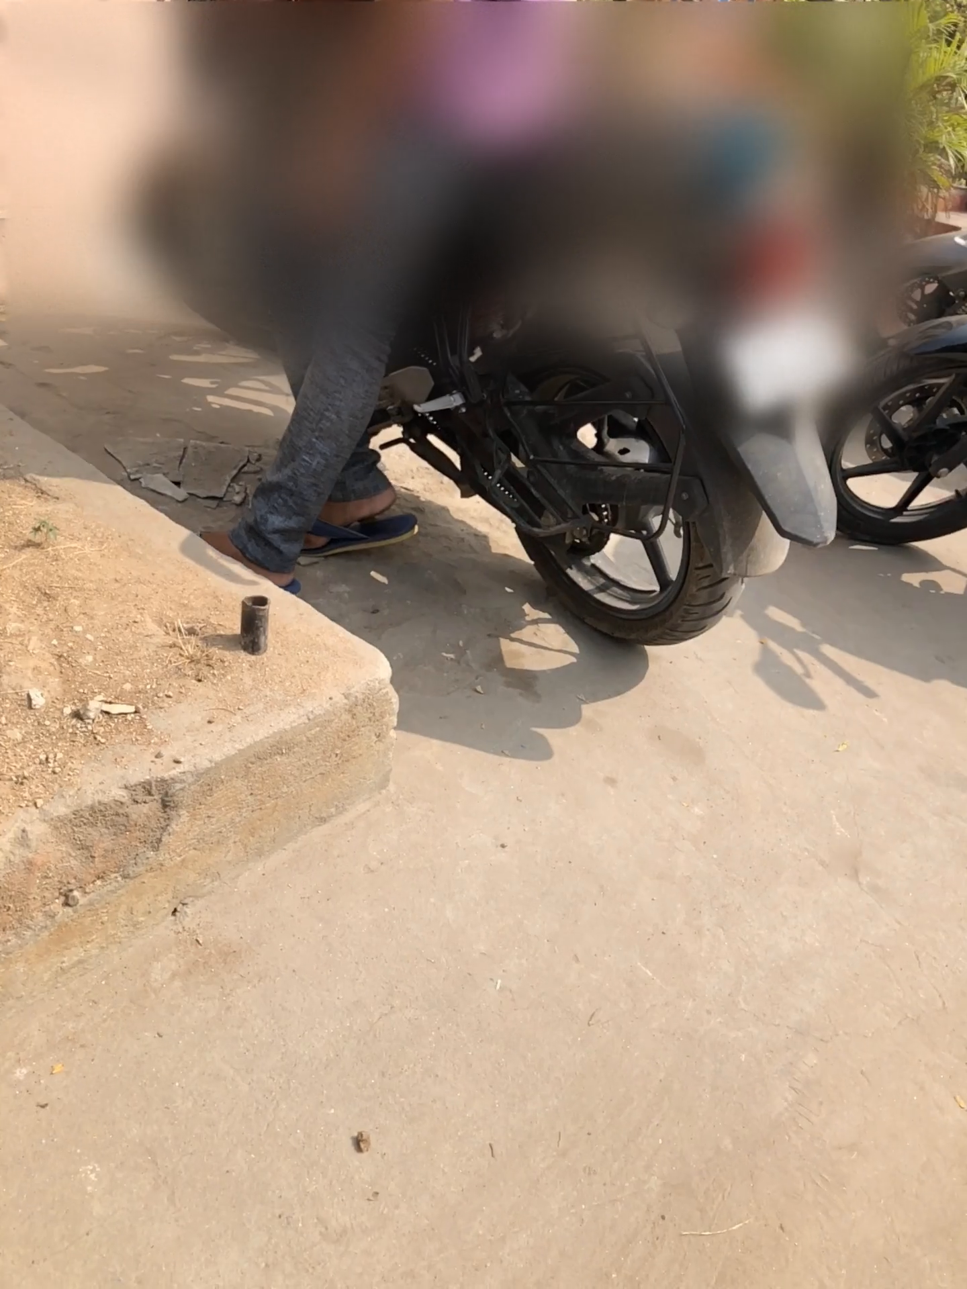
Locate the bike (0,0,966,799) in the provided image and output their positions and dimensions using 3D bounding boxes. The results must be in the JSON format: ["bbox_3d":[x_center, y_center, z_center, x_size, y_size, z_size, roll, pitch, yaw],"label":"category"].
[{"bbox_3d":[-0.321,-0.912,1.846,0.813,1.222,1.827,-21,47,-42],"label":"bike"}]
